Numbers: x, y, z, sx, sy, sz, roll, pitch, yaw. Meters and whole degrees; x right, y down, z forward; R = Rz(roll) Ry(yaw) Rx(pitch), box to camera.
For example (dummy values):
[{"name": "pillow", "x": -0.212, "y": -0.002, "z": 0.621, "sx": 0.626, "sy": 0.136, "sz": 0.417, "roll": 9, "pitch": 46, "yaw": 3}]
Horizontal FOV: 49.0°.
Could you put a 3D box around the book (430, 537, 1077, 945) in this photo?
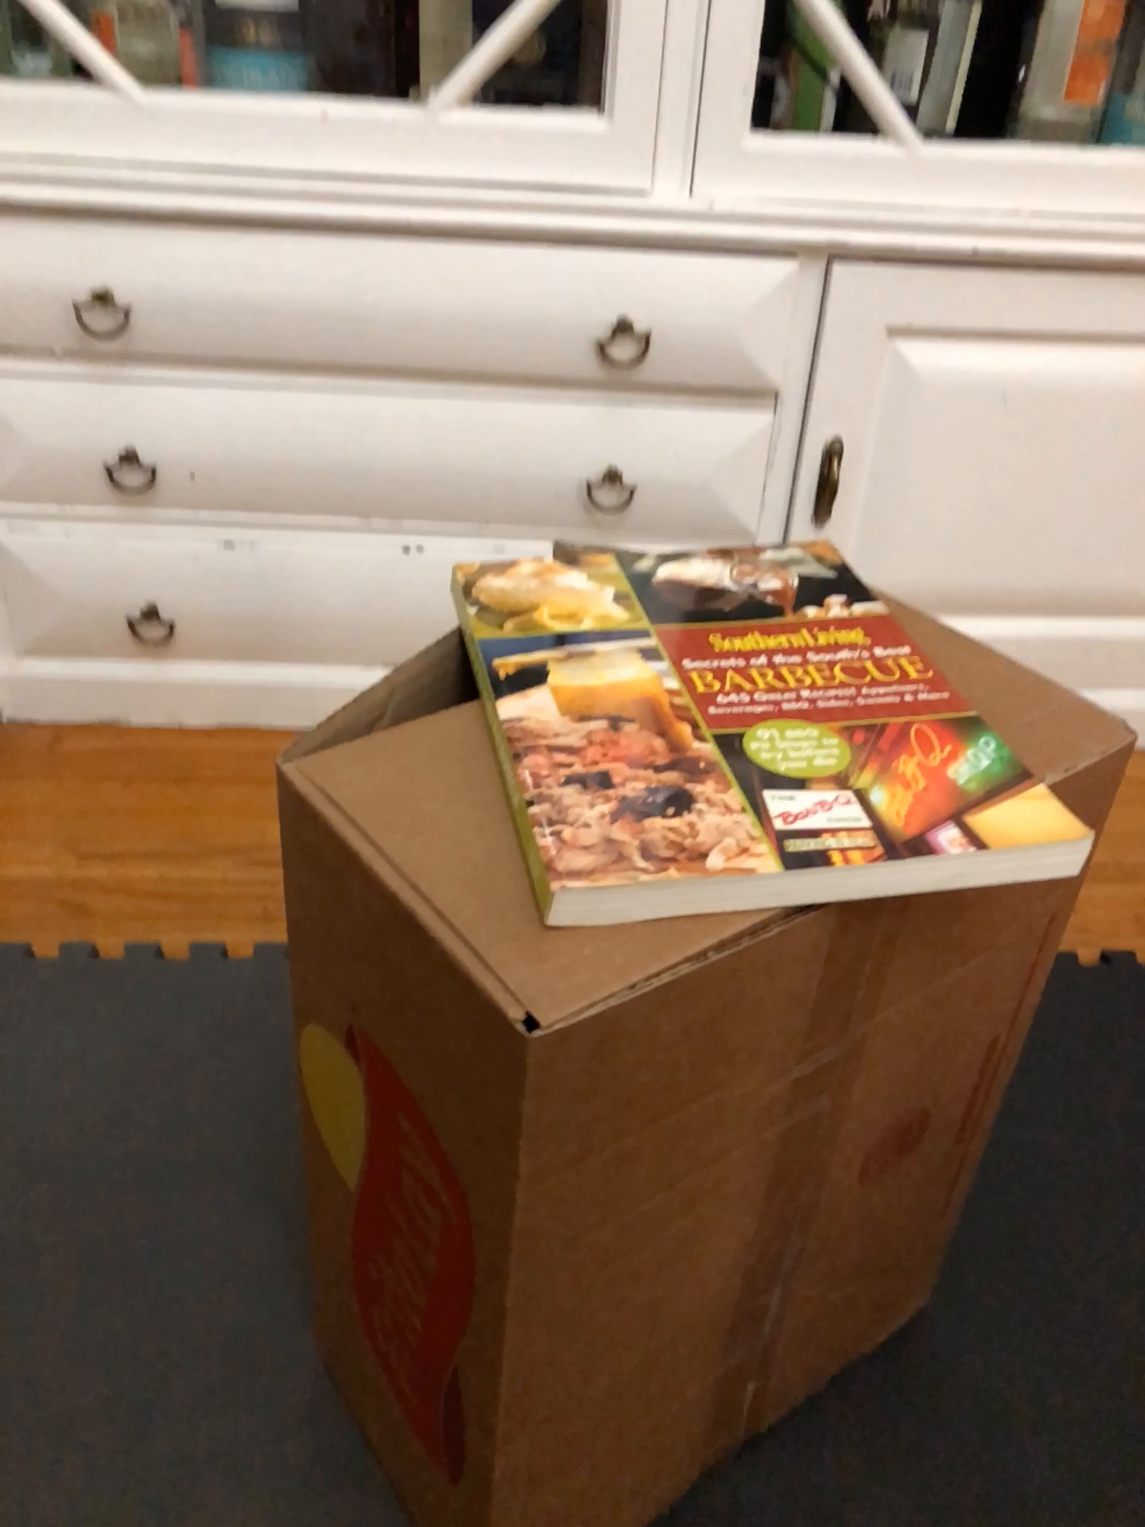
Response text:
[{"name": "book", "x": 0.059, "y": -0.032, "z": 0.590, "sx": 0.220, "sy": 0.020, "sz": 0.291, "roll": -4, "pitch": 35, "yaw": -11}]
